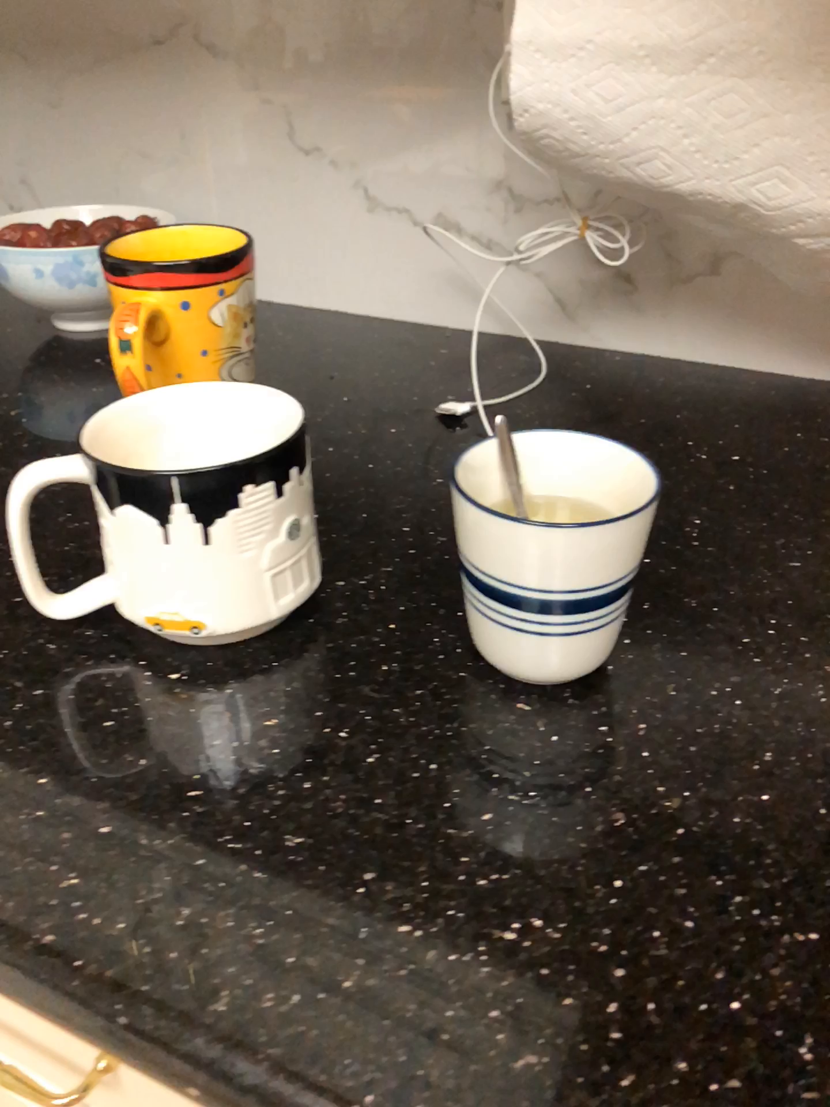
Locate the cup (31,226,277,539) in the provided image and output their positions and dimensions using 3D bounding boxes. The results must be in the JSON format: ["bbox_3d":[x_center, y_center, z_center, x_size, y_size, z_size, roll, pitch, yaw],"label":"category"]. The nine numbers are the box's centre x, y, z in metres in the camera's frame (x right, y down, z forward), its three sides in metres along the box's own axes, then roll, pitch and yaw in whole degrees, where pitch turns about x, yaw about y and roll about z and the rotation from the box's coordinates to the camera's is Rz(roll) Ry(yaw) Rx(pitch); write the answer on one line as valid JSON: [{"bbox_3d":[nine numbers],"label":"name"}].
[{"bbox_3d":[-0.147,-0.107,0.559,0.090,0.149,0.131,1,32,3],"label":"cup"}]

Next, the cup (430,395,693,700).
[{"bbox_3d":[0.061,-0.005,0.436,0.100,0.109,0.091,-2,32,-3],"label":"cup"}]

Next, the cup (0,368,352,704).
[{"bbox_3d":[-0.120,-0.015,0.462,0.150,0.109,0.101,-11,33,-16],"label":"cup"}]
